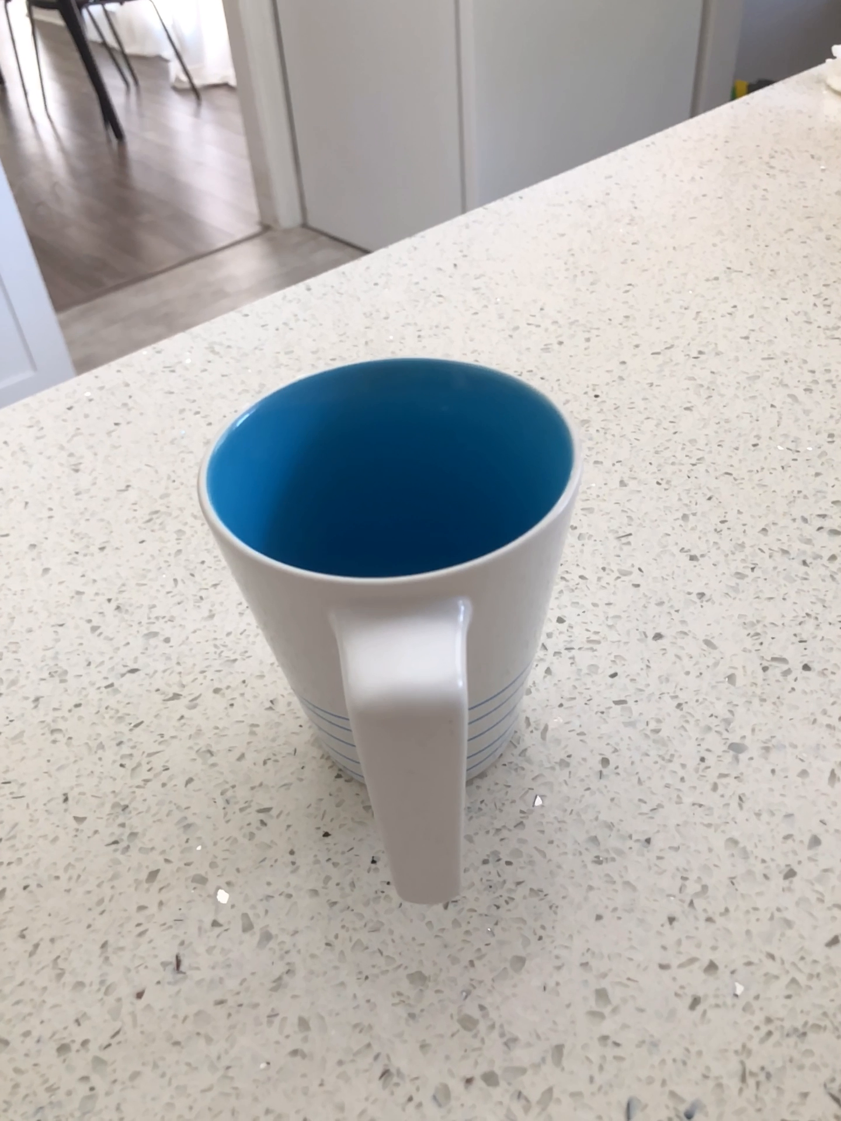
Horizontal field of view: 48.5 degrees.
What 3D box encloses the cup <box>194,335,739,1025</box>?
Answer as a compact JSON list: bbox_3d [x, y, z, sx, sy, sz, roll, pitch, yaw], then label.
[{"bbox_3d":[0.002,0.020,0.224,0.080,0.090,0.121,-14,41,-10],"label":"cup"}]
